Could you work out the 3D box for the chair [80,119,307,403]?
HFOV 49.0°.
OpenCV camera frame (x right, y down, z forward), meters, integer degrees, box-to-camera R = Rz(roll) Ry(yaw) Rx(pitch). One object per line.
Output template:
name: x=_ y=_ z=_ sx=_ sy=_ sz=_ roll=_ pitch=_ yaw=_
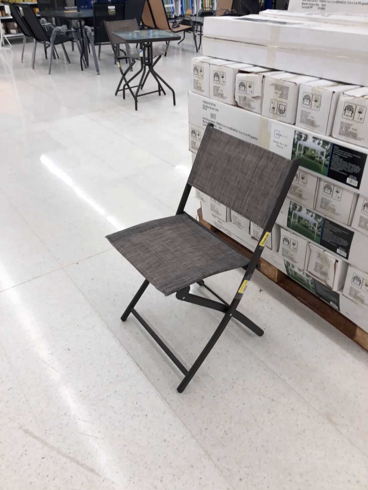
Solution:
chair: x=0.020 y=0.029 z=1.464 sx=0.501 sy=0.754 sz=0.513 roll=-22 pitch=39 yaw=-27
